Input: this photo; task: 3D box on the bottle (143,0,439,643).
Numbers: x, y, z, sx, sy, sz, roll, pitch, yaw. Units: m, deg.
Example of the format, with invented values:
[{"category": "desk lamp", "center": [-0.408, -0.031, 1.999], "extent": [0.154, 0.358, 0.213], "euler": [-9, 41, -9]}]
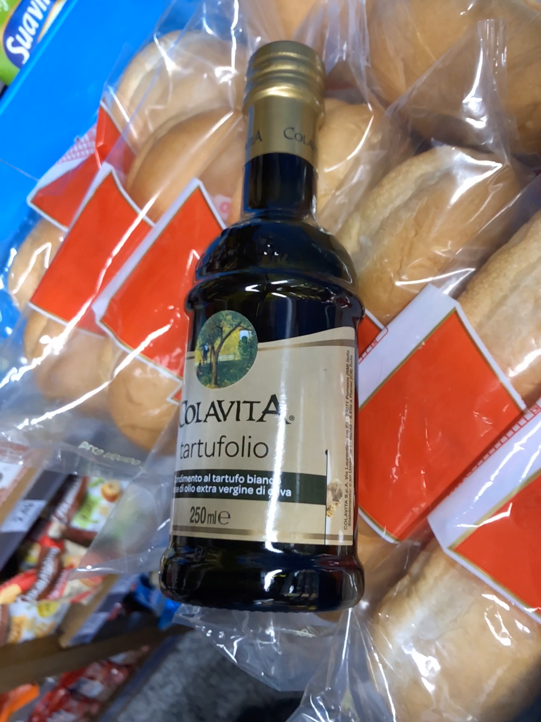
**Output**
[{"category": "bottle", "center": [0.007, -0.027, 0.210], "extent": [0.070, 0.060, 0.210], "euler": [-8, 76, 32]}]
